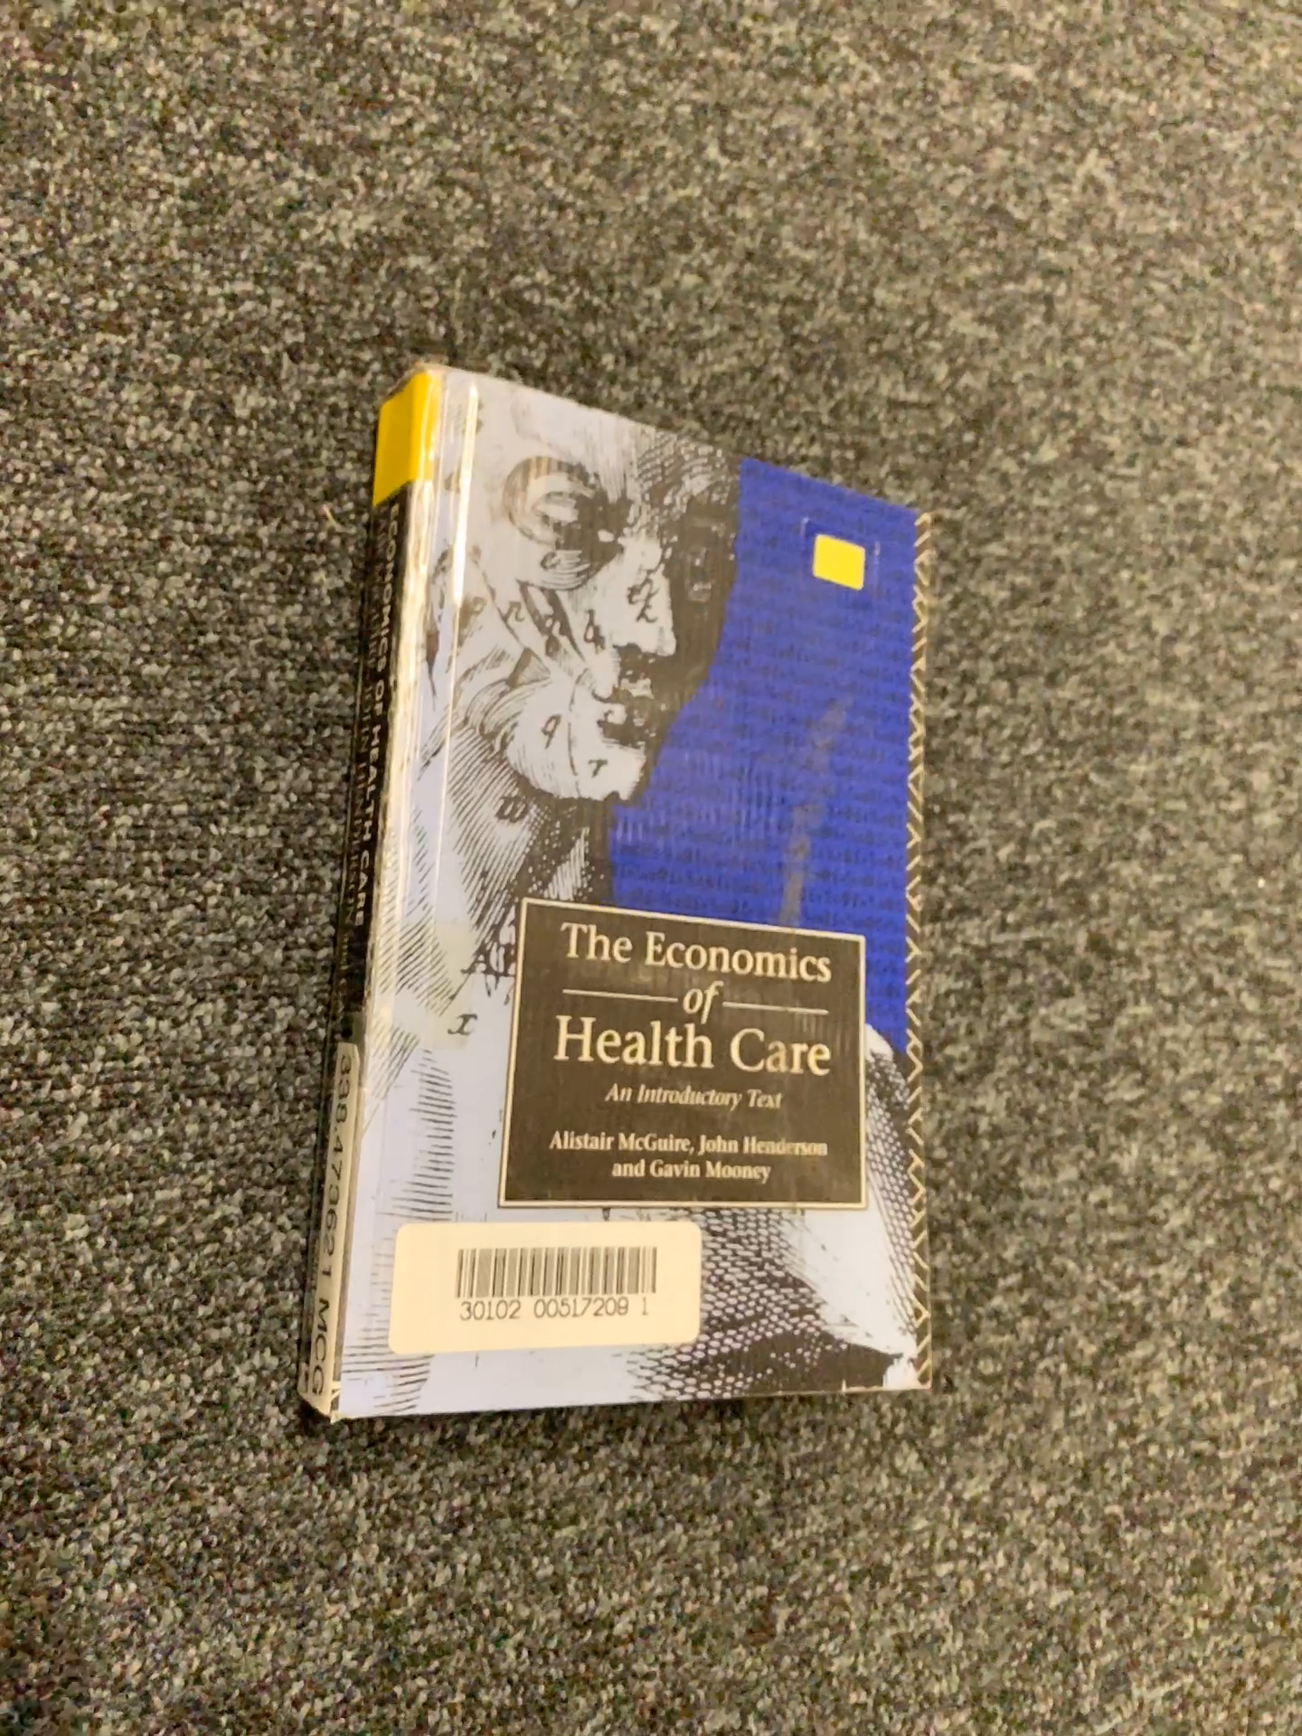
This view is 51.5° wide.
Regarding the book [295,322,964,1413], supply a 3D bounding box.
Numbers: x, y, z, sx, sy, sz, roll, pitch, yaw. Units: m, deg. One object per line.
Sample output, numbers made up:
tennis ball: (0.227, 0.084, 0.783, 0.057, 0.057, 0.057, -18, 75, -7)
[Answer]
book: (0.004, 0.003, 0.297, 0.136, 0.030, 0.207, 8, 80, -27)
